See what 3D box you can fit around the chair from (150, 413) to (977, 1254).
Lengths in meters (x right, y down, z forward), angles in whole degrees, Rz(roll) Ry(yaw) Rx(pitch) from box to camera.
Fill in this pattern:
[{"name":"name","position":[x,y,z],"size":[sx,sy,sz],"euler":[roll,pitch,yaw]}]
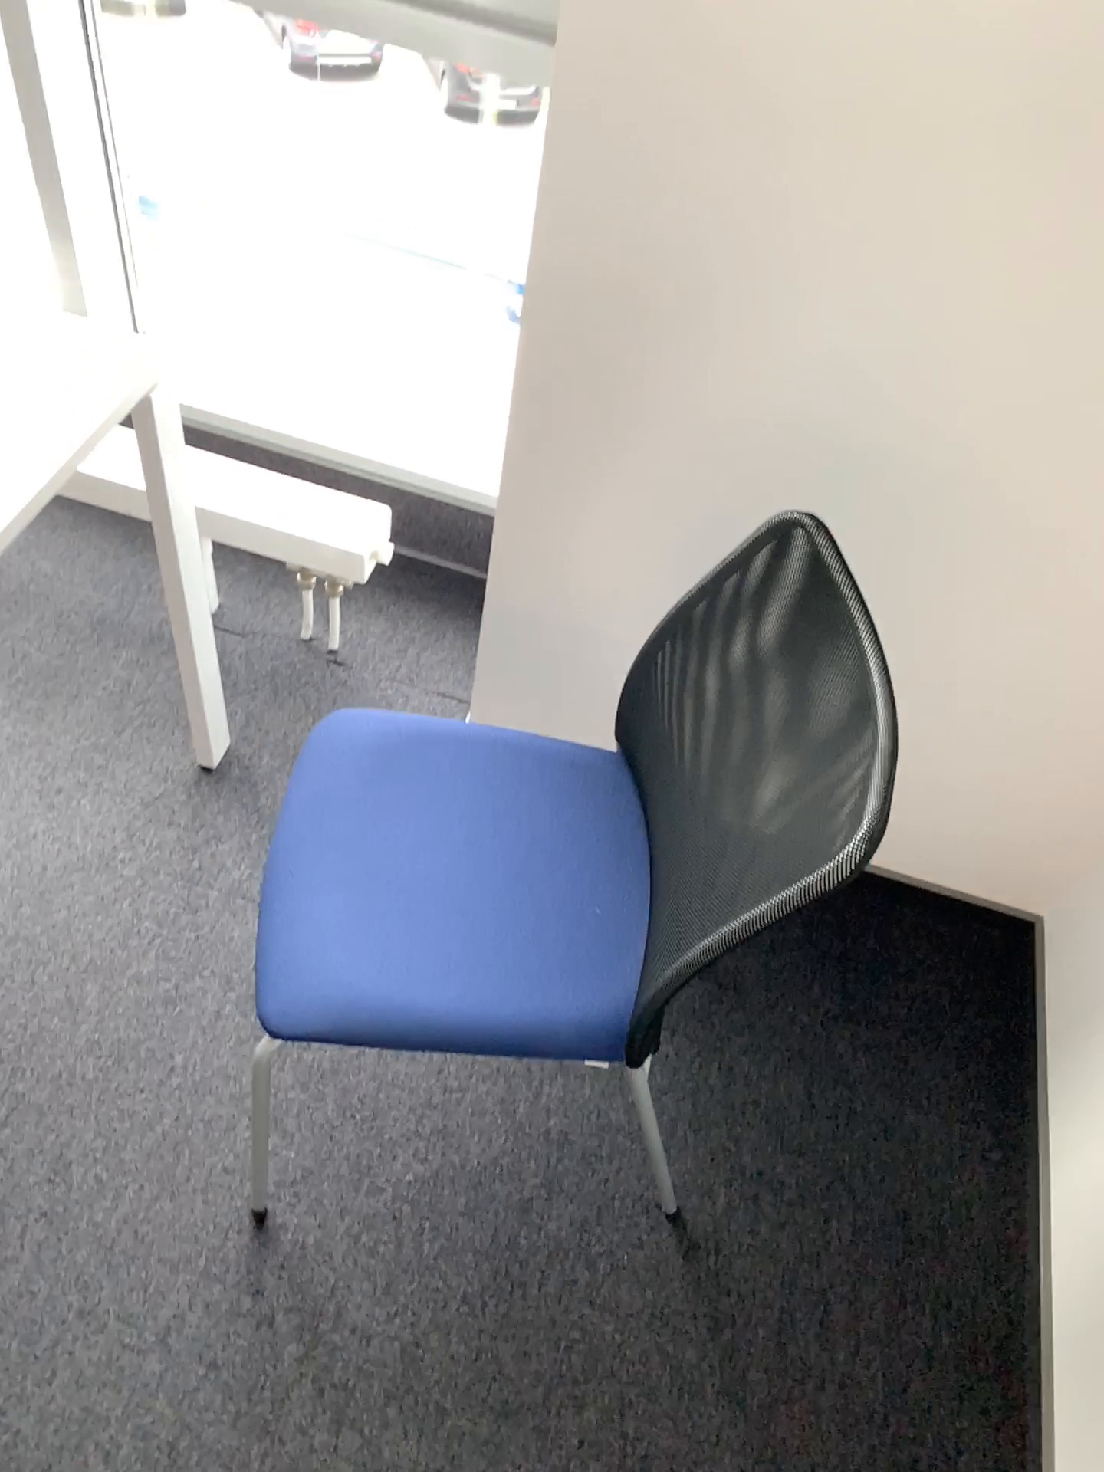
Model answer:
[{"name":"chair","position":[-0.052,0.194,1.306],"size":[0.590,0.897,0.532],"euler":[4,51,-8]}]
